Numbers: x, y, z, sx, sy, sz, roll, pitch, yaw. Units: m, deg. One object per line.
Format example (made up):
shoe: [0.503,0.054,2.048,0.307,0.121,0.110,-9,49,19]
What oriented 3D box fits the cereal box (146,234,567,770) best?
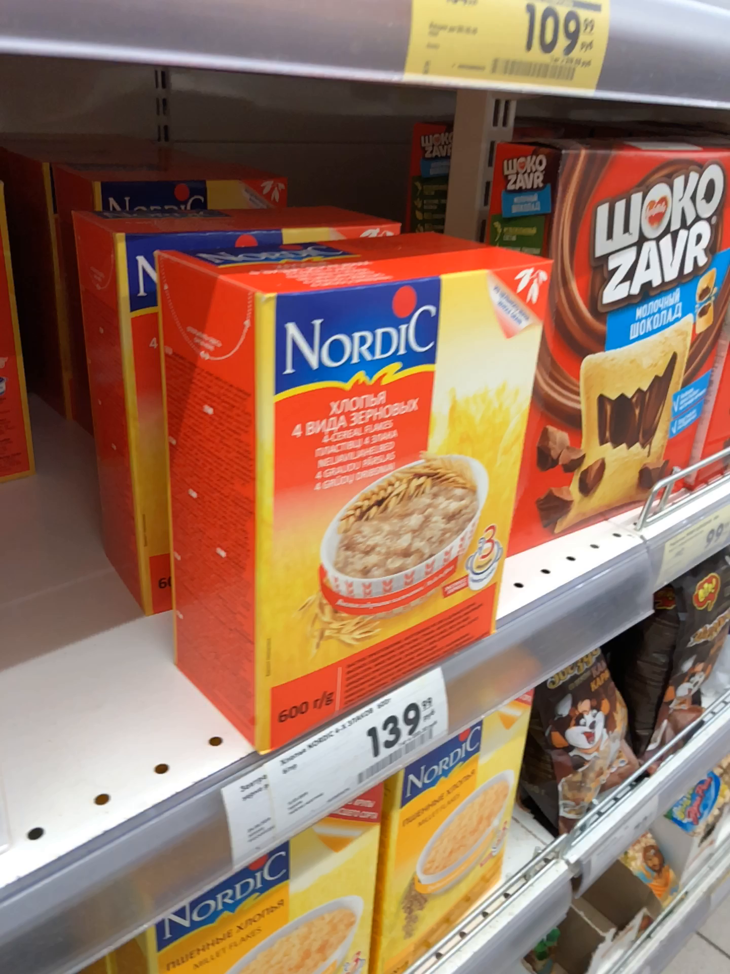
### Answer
cereal box: [-0.004,-0.004,0.360,0.150,0.189,0.080,-18,33,-37]
